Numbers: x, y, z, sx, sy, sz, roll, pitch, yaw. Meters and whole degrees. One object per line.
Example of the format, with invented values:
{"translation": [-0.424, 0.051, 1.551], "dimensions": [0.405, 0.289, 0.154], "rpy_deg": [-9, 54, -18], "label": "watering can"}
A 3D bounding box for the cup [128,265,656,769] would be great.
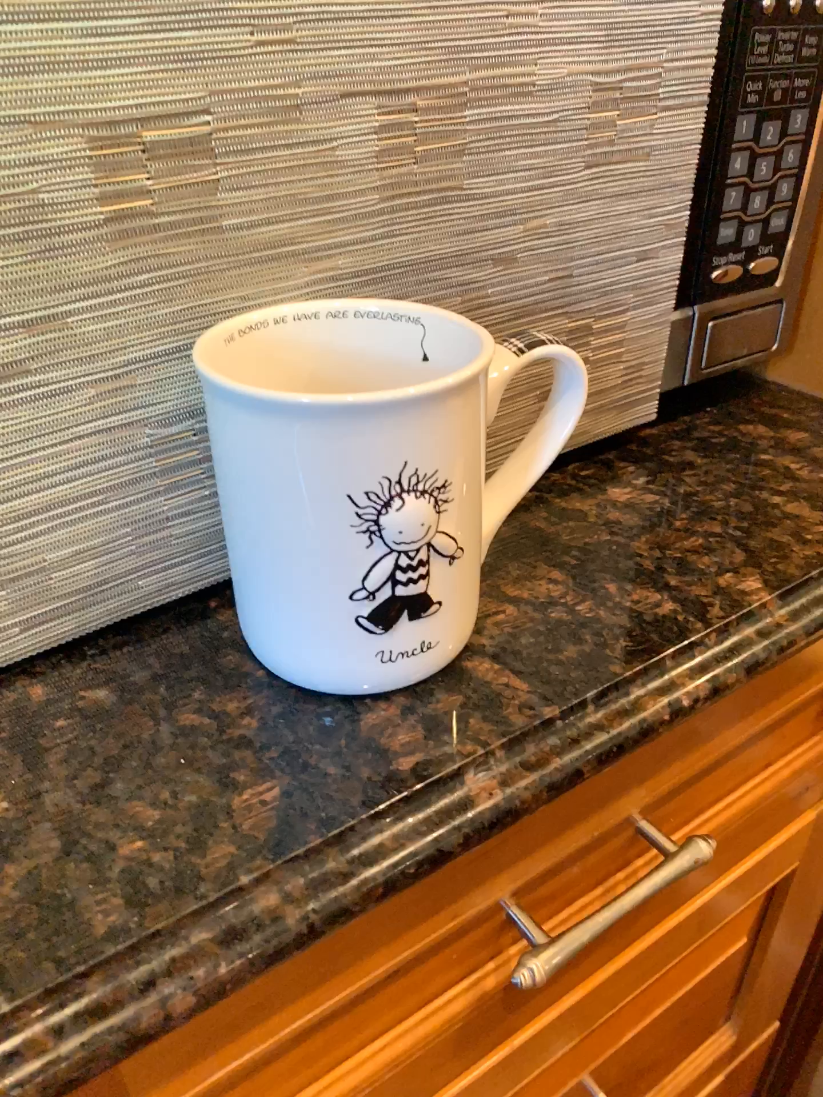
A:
{"translation": [-0.009, -0.021, 0.289], "dimensions": [0.130, 0.109, 0.100], "rpy_deg": [-17, 35, -24], "label": "cup"}
